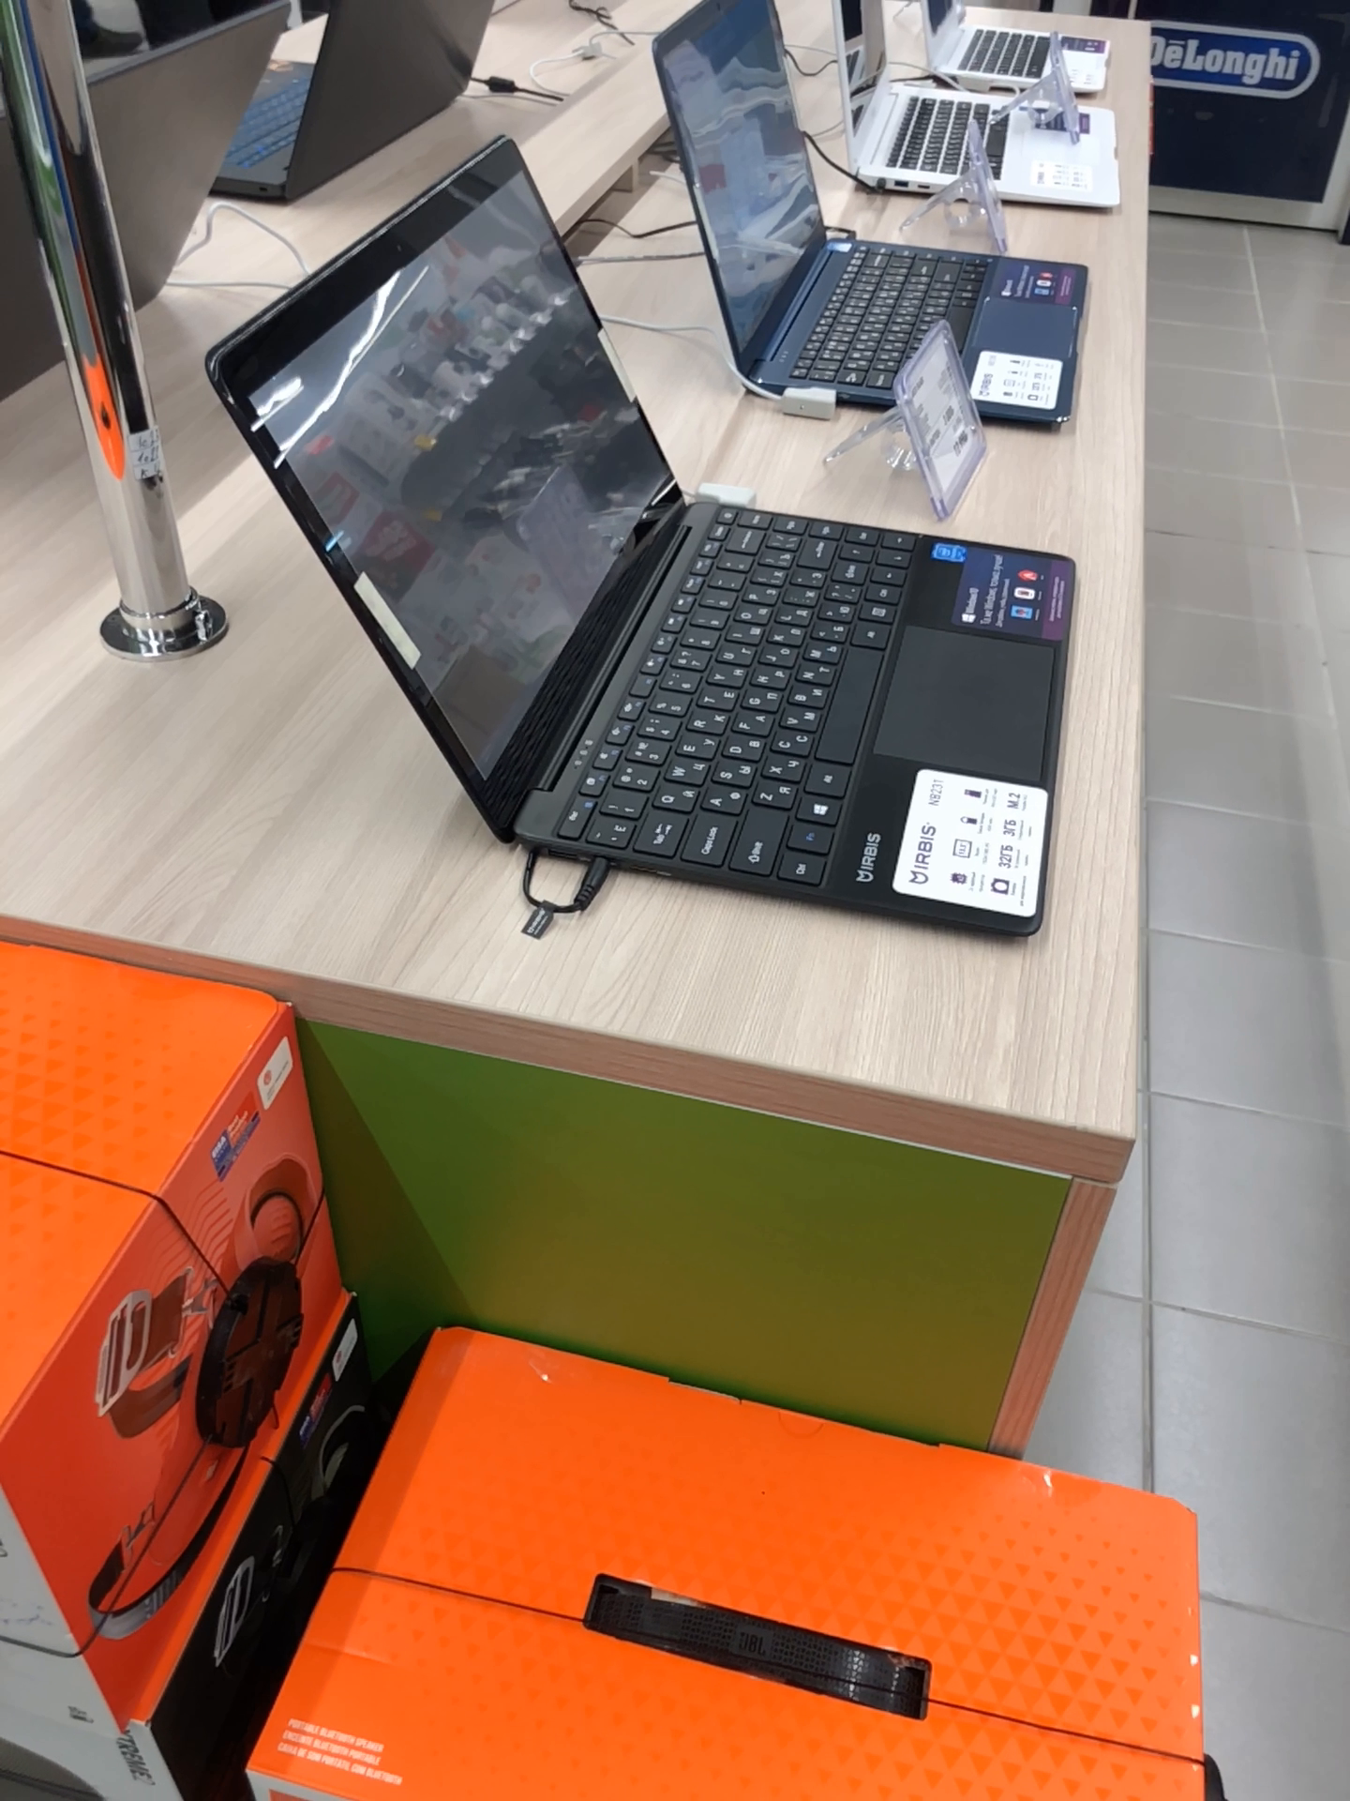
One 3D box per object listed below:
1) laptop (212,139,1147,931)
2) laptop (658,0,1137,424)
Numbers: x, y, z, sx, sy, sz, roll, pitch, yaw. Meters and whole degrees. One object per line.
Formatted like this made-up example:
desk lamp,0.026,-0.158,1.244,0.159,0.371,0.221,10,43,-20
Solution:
laptop,0.027,-0.180,0.640,0.306,0.172,0.306,11,41,9
laptop,0.156,-0.491,1.007,0.265,0.186,0.310,11,41,11
